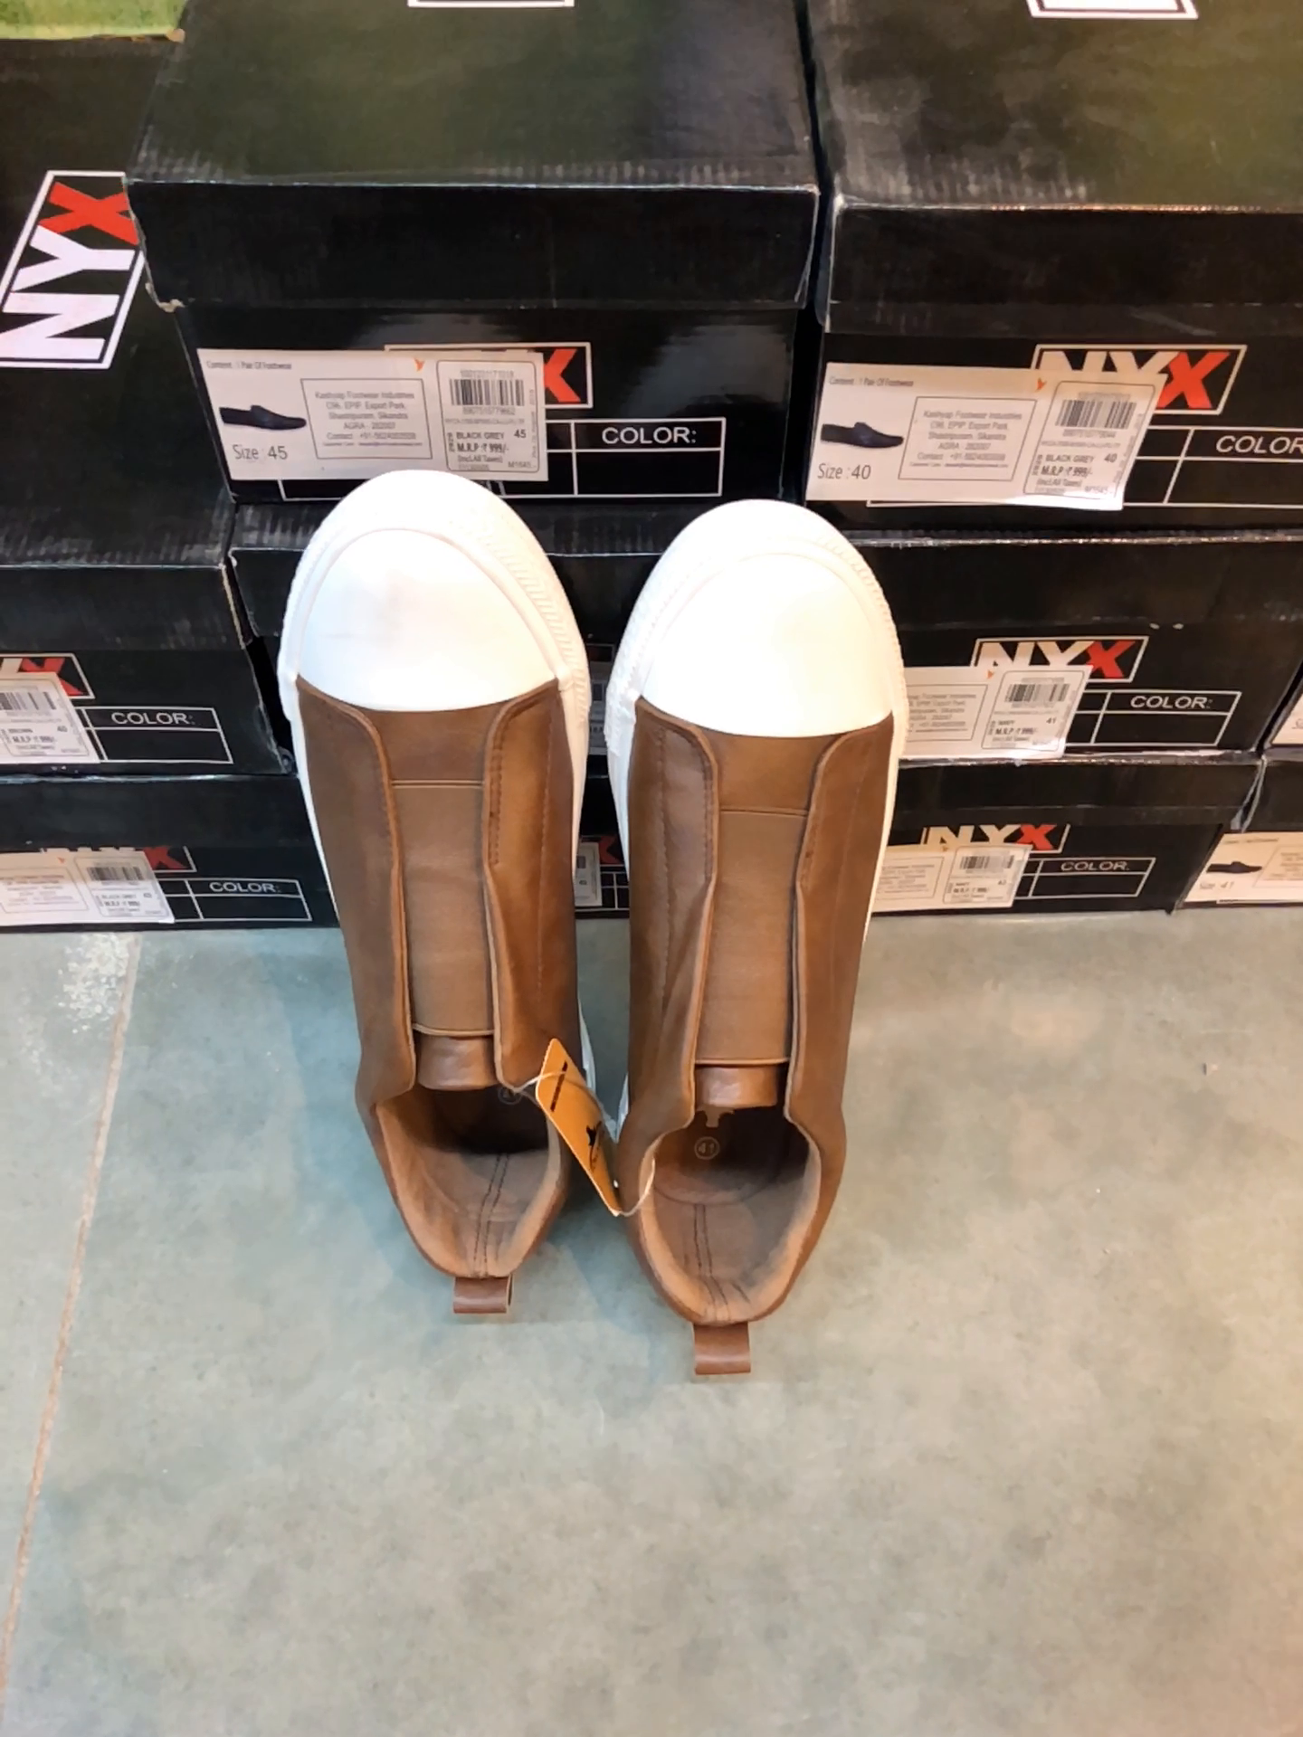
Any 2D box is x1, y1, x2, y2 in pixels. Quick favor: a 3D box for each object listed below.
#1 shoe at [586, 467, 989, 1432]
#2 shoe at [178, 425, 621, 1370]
[{"bbox_3d":[0.031,0.023,0.434,0.096,0.271,0.101,1,19,0],"label":"shoe"},{"bbox_3d":[-0.064,0.007,0.444,0.098,0.269,0.103,-2,20,-2],"label":"shoe"}]
